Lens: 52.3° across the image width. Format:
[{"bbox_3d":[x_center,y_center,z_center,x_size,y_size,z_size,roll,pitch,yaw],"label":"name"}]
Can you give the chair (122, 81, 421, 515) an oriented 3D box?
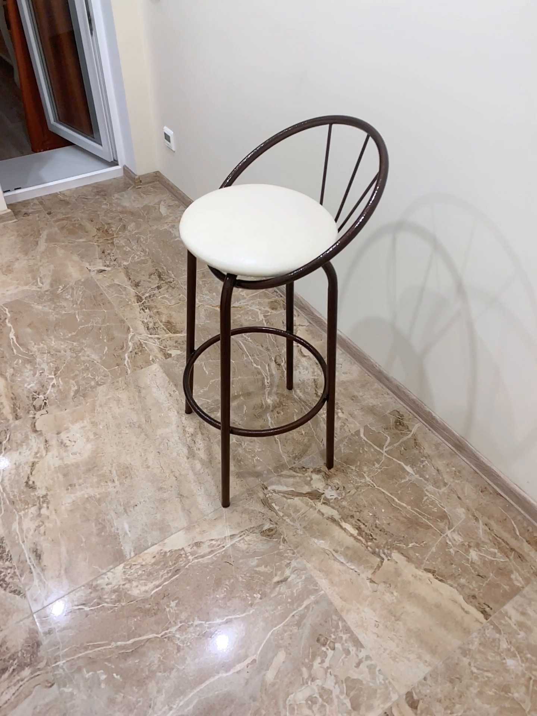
[{"bbox_3d":[-0.025,-0.098,1.240,0.400,0.835,0.402,-14,46,-16],"label":"chair"}]
